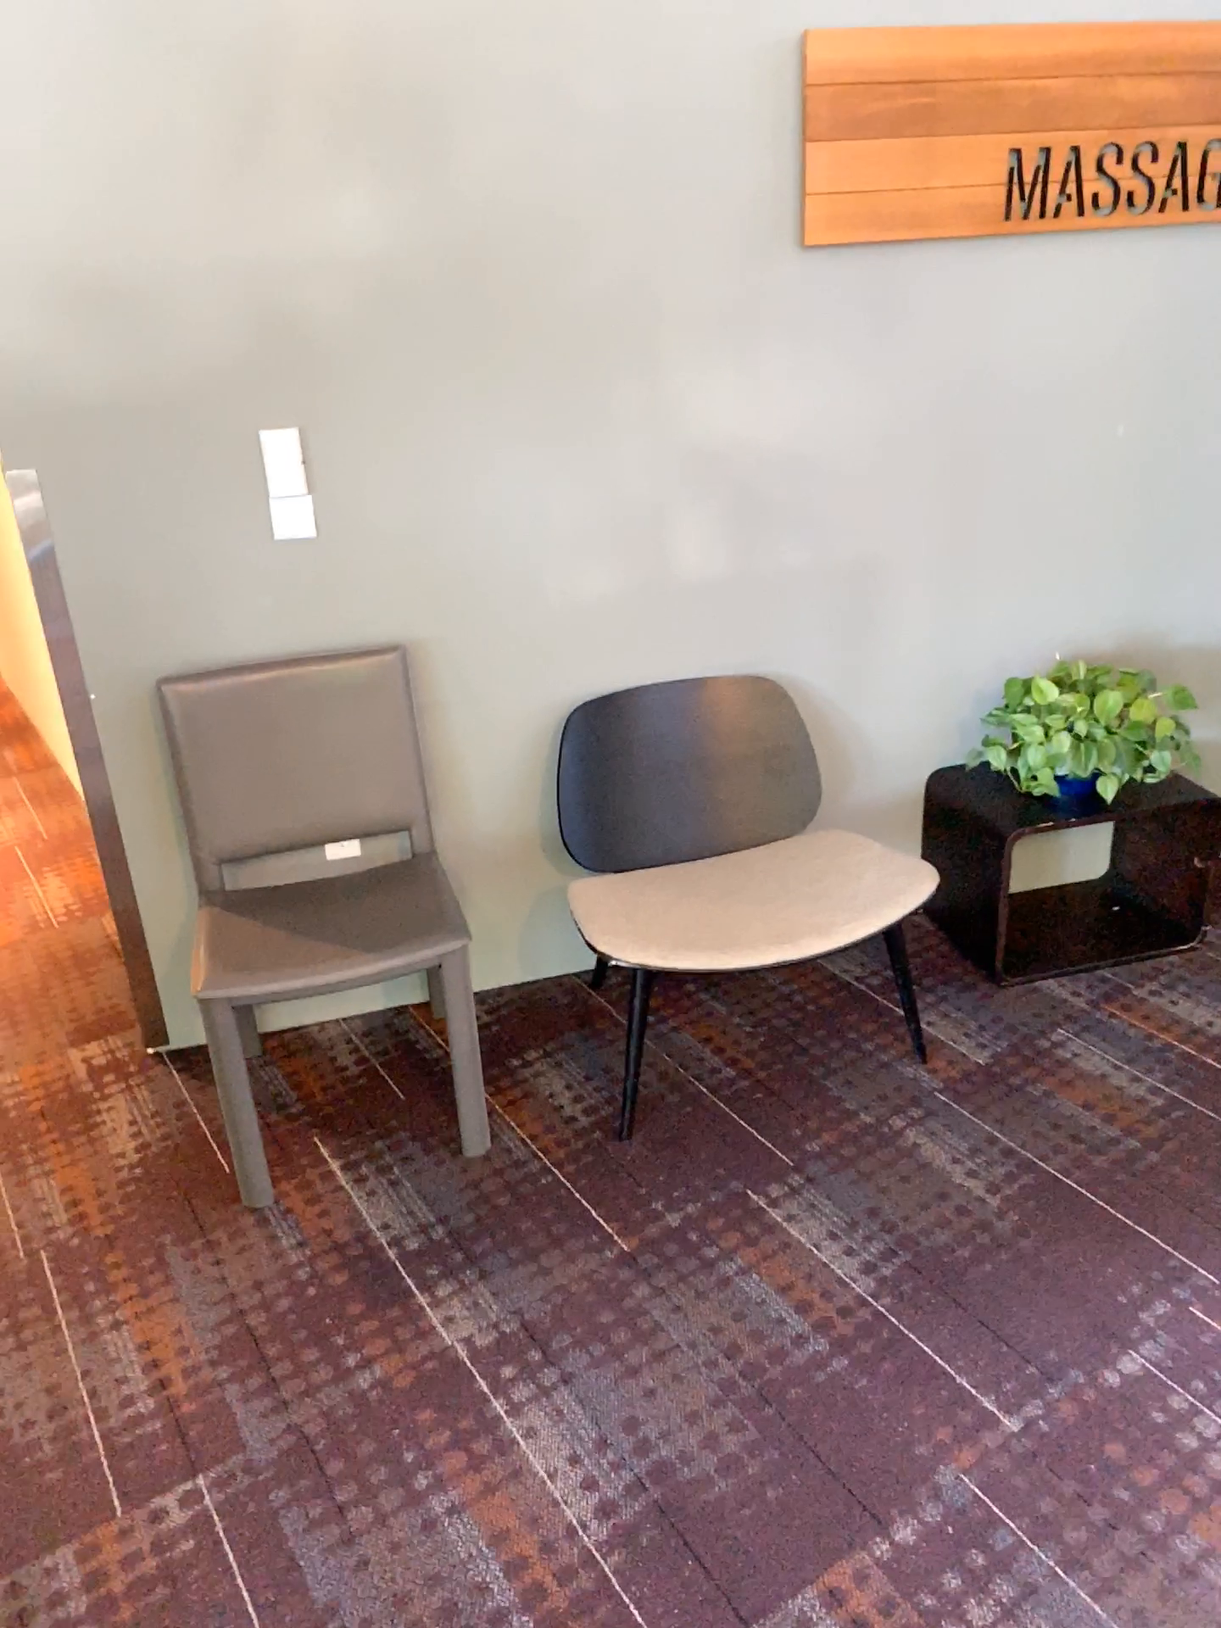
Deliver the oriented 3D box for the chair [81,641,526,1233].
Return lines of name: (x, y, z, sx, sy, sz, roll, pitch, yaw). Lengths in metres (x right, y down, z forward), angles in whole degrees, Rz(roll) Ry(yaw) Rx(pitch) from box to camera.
chair: (-0.600, 0.194, 2.491, 0.640, 0.835, 0.694, -11, 25, -15)

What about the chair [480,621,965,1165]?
chair: (0.217, 0.121, 2.759, 0.790, 0.835, 0.714, -11, 25, -15)
